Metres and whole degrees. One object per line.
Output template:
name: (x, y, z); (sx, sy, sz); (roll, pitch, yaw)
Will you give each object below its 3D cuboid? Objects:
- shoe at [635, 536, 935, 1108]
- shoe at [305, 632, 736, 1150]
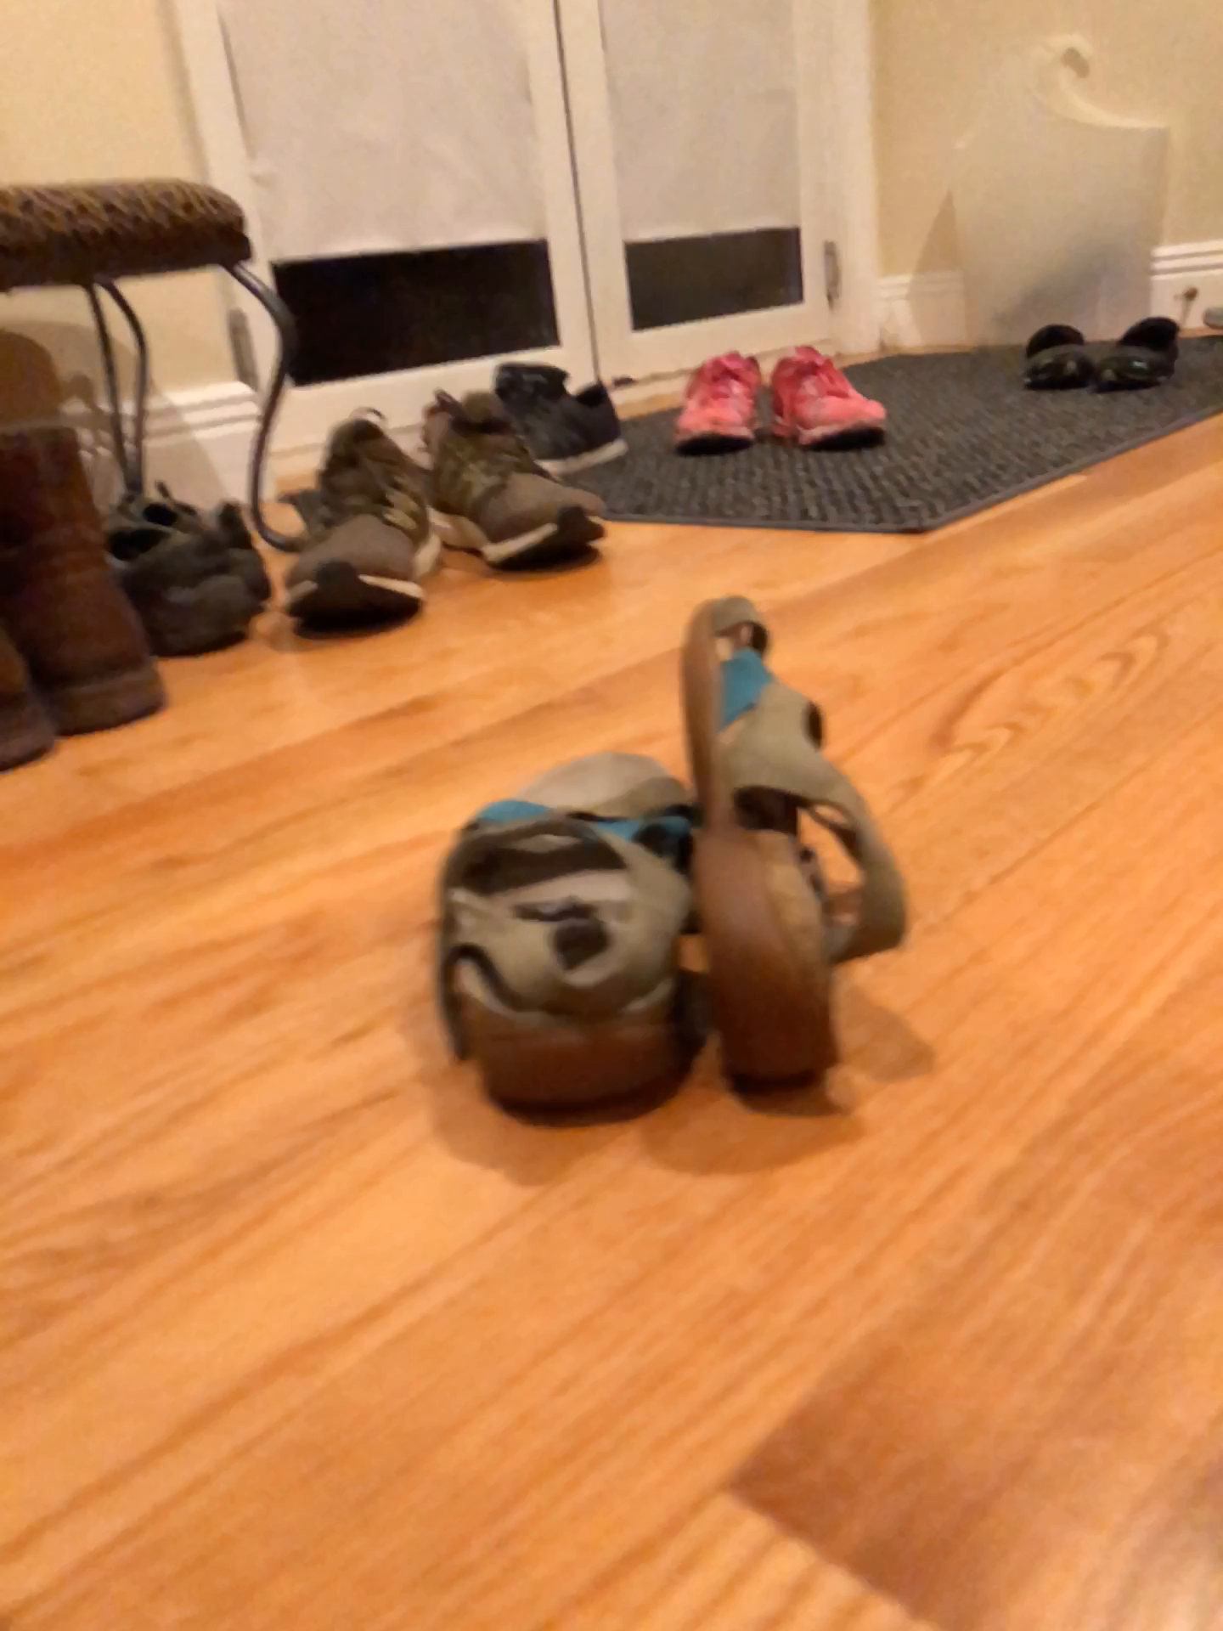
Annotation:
shoe: (0.048, -0.017, 0.448); (0.065, 0.104, 0.239); (-6, 21, 2)
shoe: (-0.022, 0.007, 0.464); (0.104, 0.075, 0.241); (-6, 21, 2)
